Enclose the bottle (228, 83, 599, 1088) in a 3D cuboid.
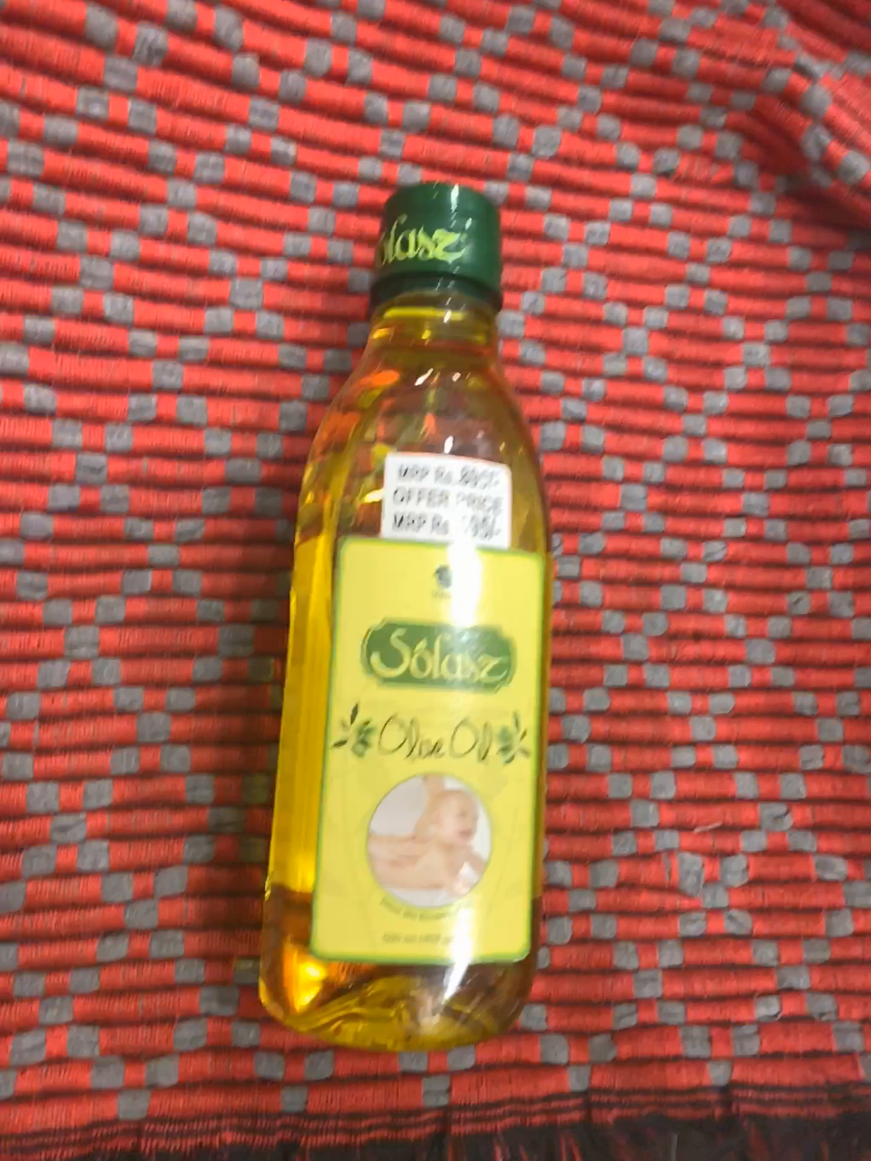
[{"bbox_3d":[-0.005,-0.001,0.230,0.070,0.060,0.220,5,80,-10],"label":"bottle"}]
